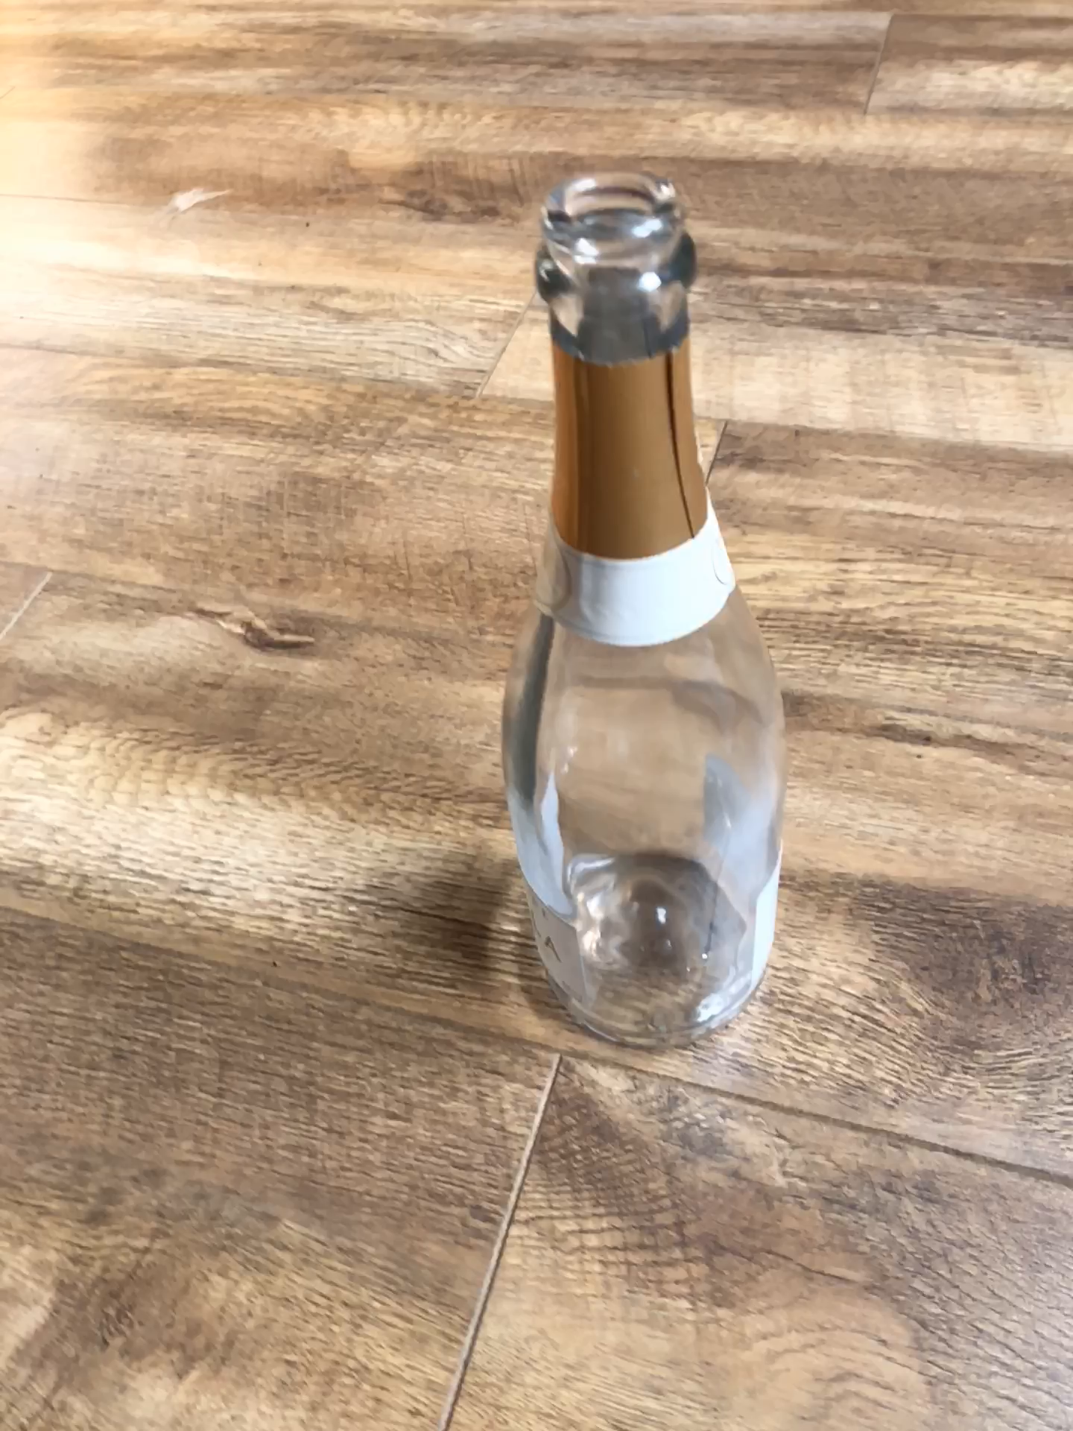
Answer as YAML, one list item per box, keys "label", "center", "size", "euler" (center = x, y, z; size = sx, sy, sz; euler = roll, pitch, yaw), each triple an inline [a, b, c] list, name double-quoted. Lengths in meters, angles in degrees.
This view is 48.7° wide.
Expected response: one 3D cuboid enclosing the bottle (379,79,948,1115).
- label: "bottle"
  center: [0.033, 0.003, 0.334]
  size: [0.090, 0.298, 0.091]
  euler: [-4, 49, 5]
